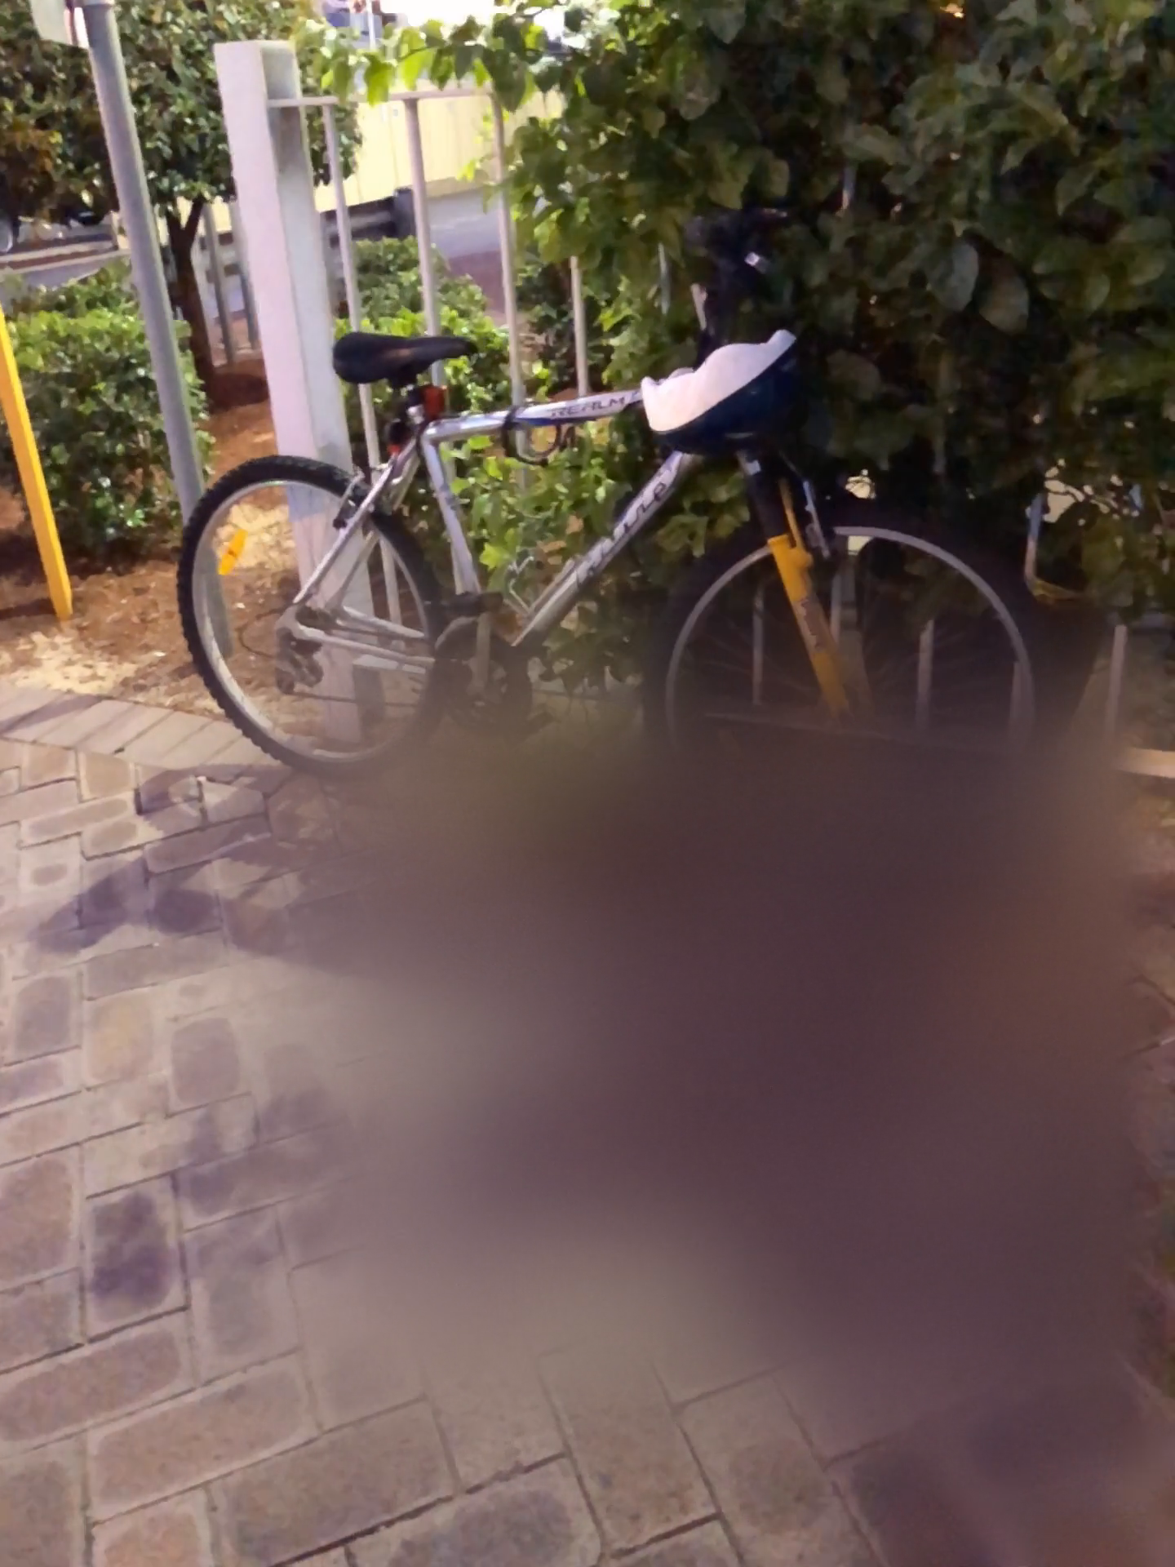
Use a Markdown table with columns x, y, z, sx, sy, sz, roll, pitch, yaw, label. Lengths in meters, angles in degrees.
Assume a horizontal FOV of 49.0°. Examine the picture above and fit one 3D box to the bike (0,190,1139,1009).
| x | y | z | sx | sy | sz | roll | pitch | yaw | label |
| --- | --- | --- | --- | --- | --- | --- | --- | --- | --- |
| -0.078 | -0.385 | 2.134 | 1.693 | 0.995 | 0.554 | 10 | 29 | 24 | bike |
